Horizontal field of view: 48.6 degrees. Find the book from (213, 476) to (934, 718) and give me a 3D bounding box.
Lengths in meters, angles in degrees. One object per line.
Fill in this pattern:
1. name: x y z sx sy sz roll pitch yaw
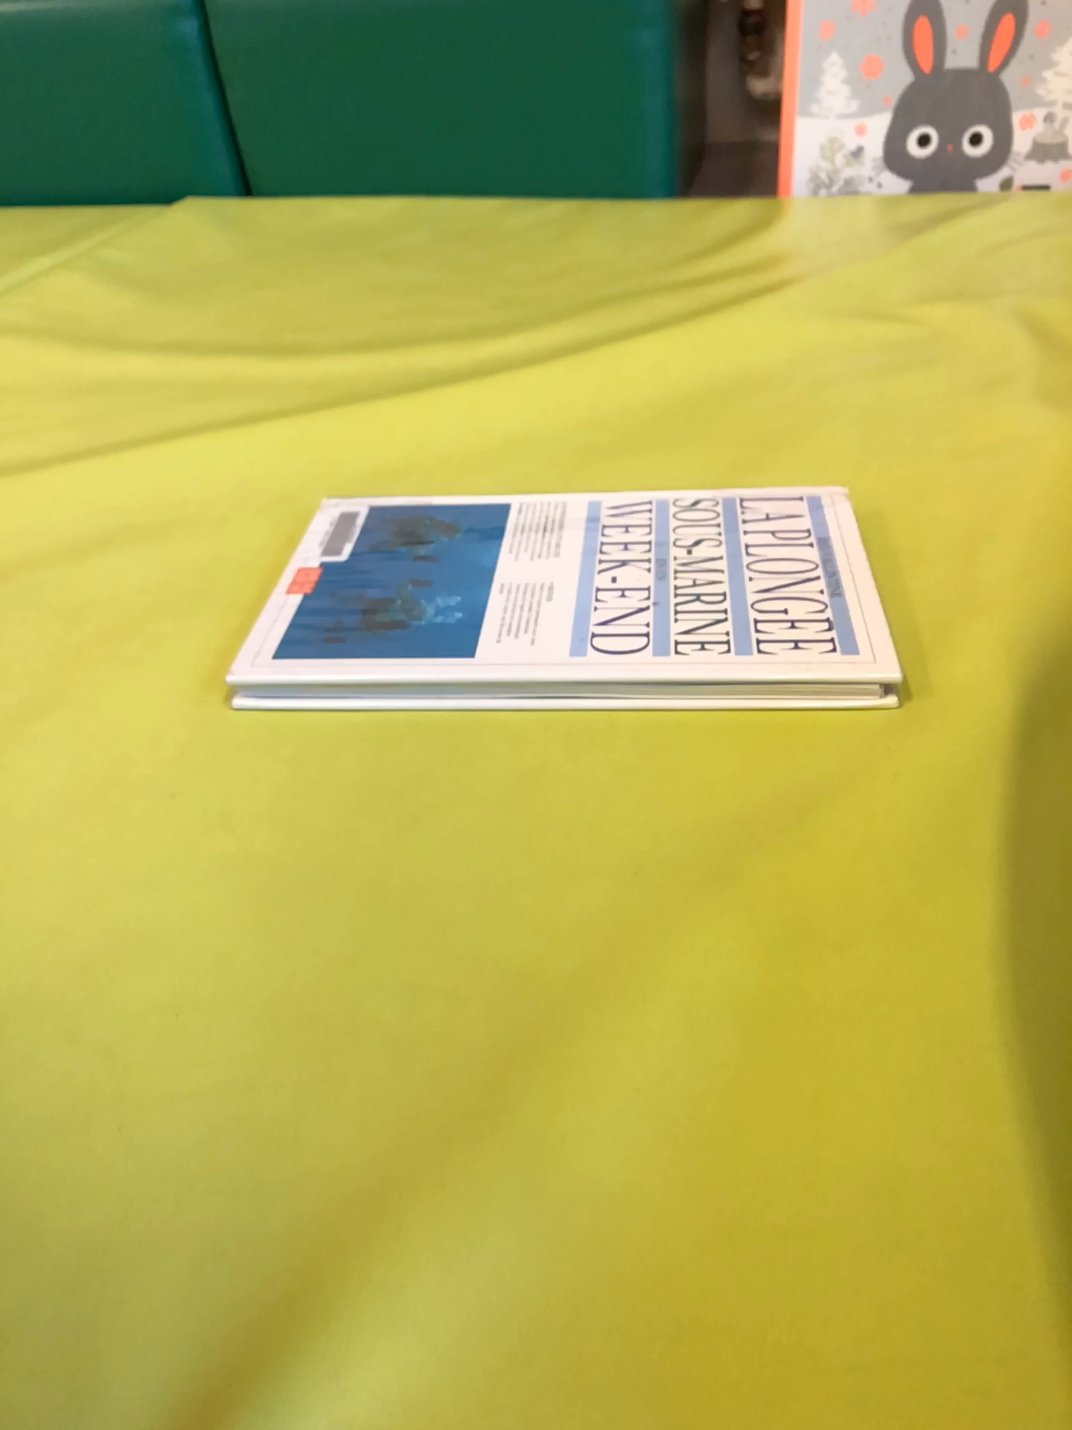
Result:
1. book: 0.016 -0.050 0.452 0.234 0.020 0.151 0 34 6
